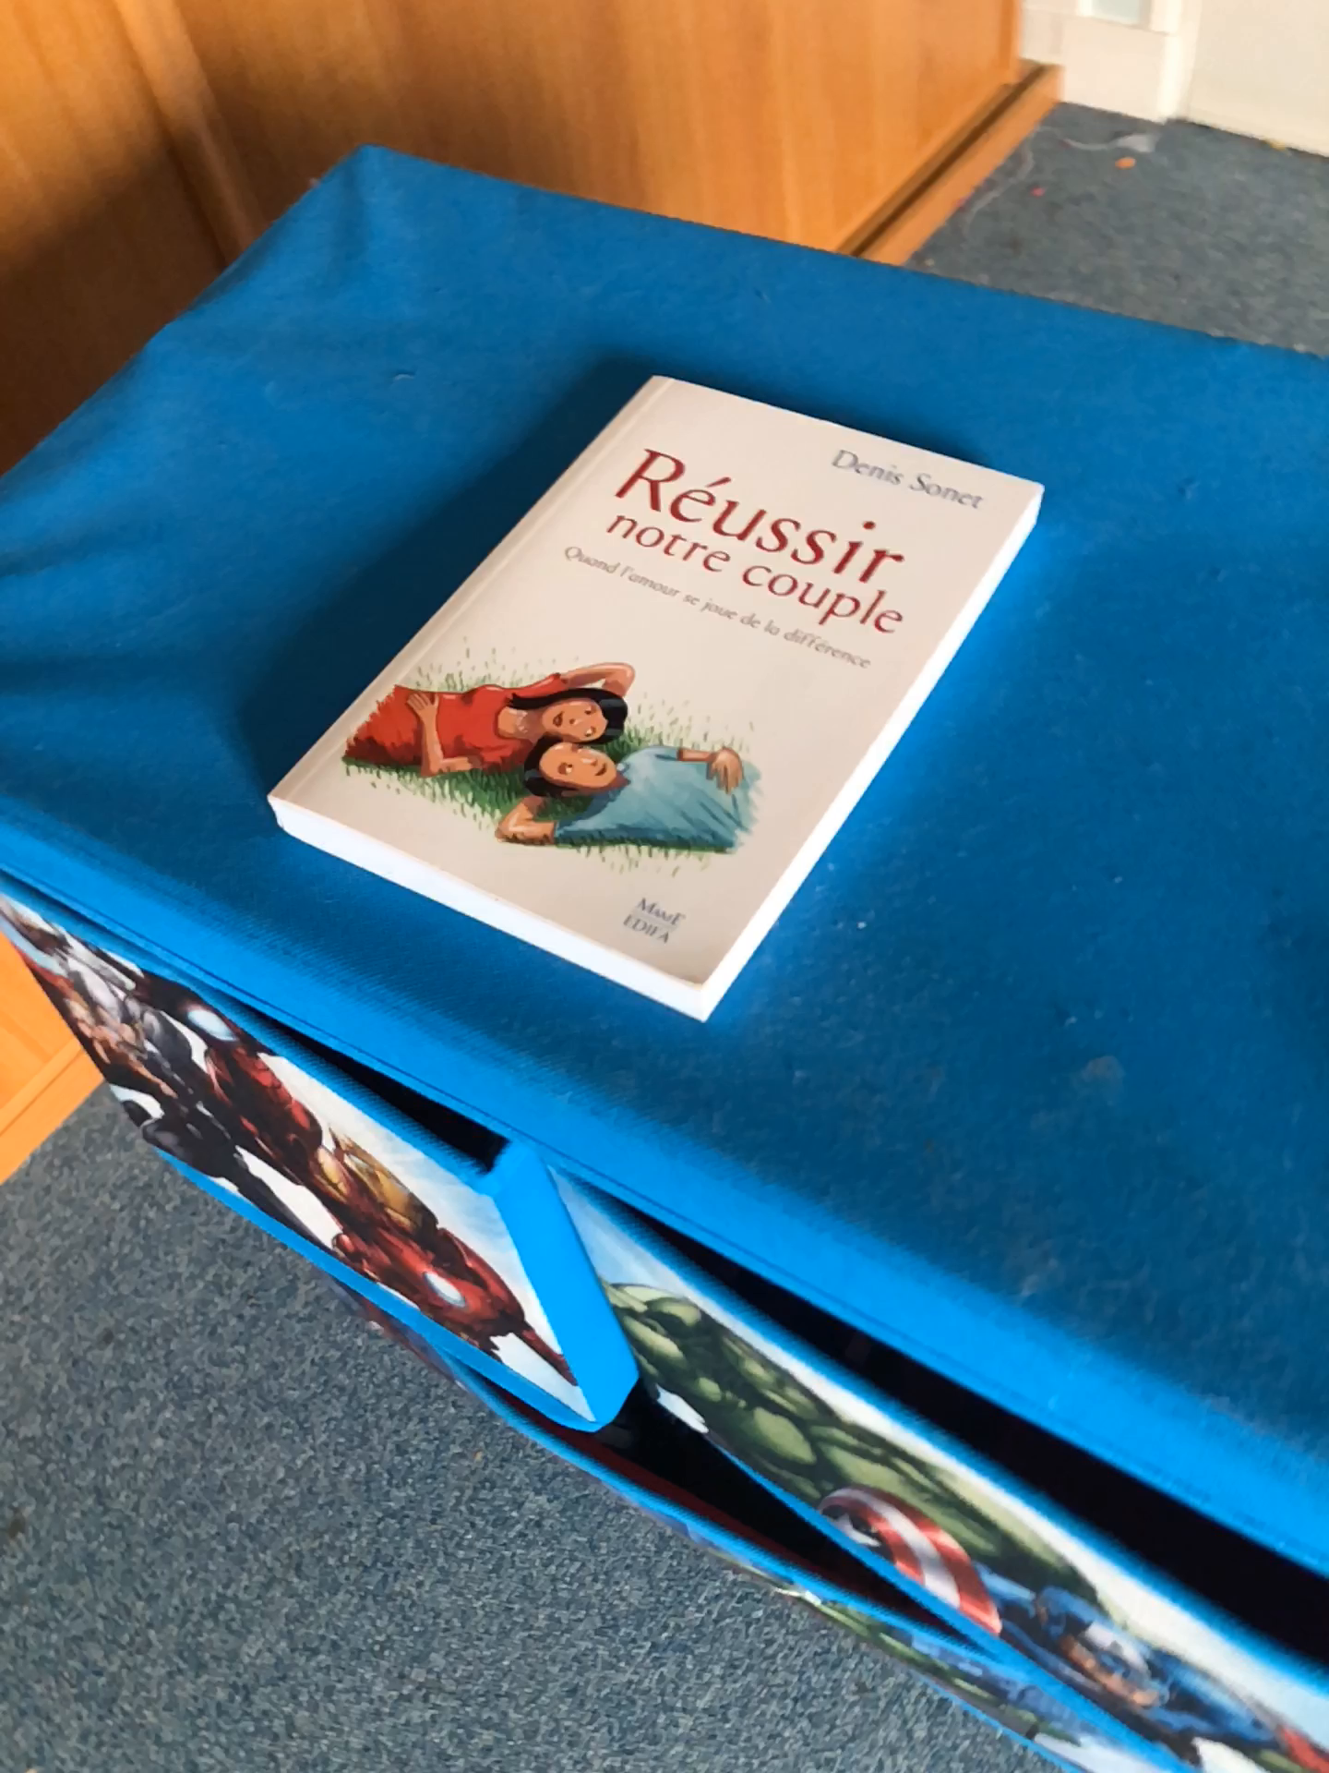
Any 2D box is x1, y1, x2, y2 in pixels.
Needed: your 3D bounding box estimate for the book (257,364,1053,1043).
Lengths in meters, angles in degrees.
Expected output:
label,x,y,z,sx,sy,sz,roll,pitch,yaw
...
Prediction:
label,x,y,z,sx,sy,sz,roll,pitch,yaw
book,0.003,-0.063,0.391,0.134,0.016,0.186,24,62,22
